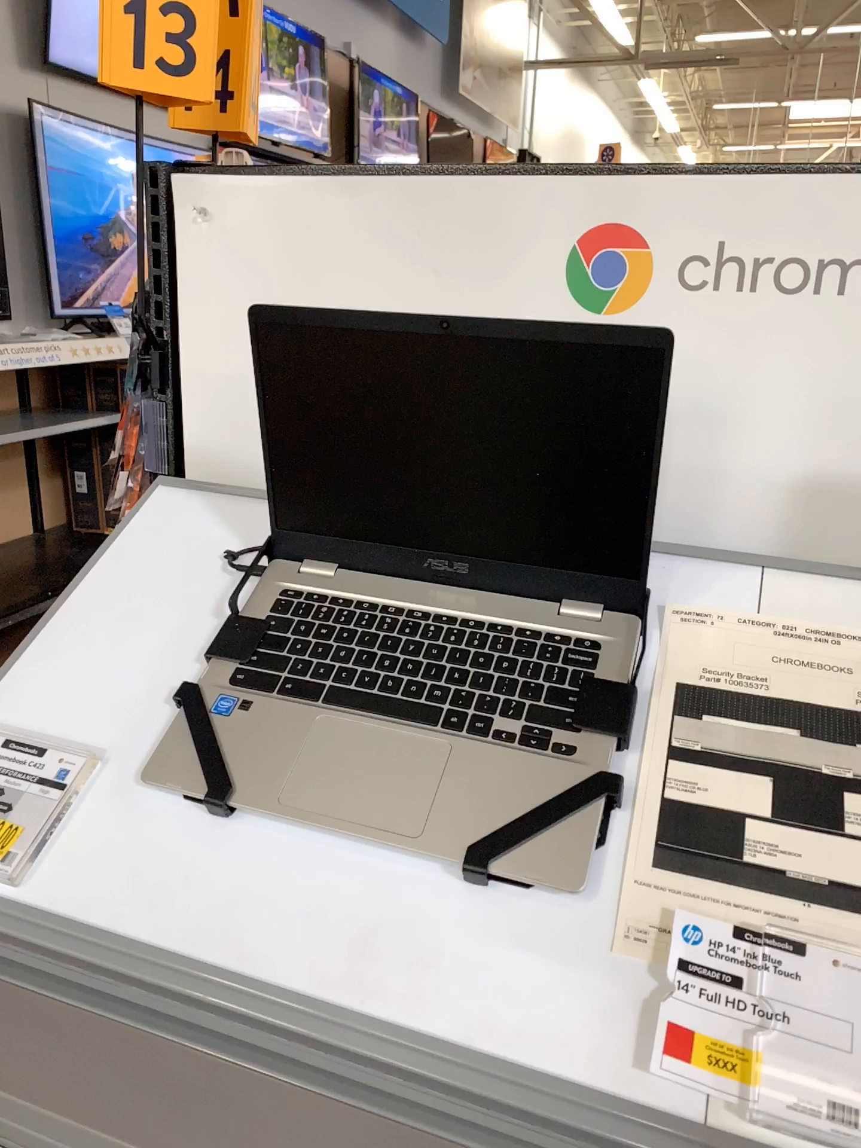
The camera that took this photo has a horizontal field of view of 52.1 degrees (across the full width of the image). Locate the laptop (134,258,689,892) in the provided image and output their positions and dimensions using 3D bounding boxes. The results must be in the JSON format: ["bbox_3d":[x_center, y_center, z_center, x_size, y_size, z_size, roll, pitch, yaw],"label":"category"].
[{"bbox_3d":[-0.002,-0.038,0.638,0.308,0.196,0.293,9,39,17],"label":"laptop"}]
